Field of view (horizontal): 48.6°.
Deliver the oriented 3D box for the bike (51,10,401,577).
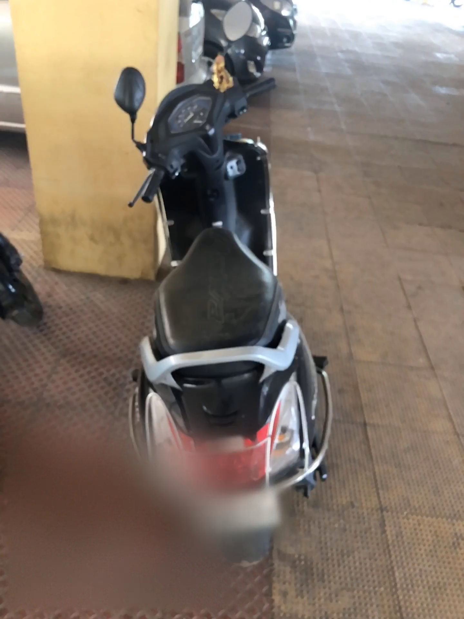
[{"bbox_3d":[-0.193,-0.147,1.757,0.608,1.172,1.447,-2,40,-12],"label":"bike"}]
